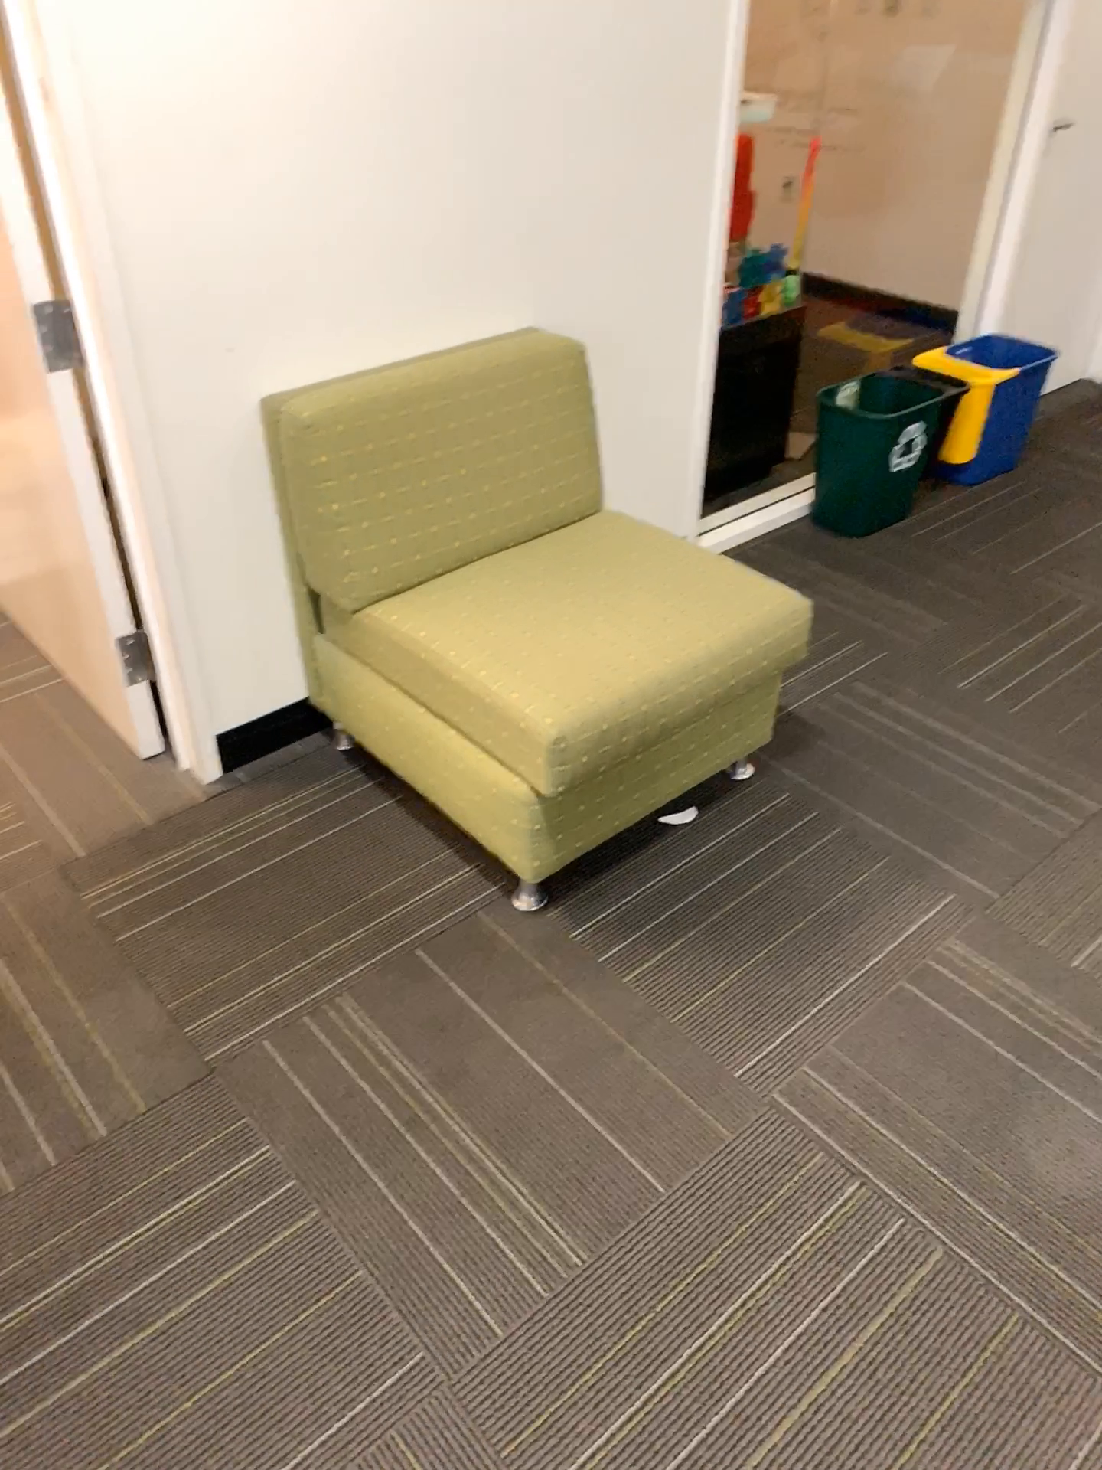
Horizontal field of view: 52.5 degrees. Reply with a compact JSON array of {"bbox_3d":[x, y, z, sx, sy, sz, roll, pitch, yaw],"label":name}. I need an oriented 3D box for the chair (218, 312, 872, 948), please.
[{"bbox_3d":[-0.025,-0.255,2.019,0.731,0.686,0.784,-27,45,-32],"label":"chair"}]
